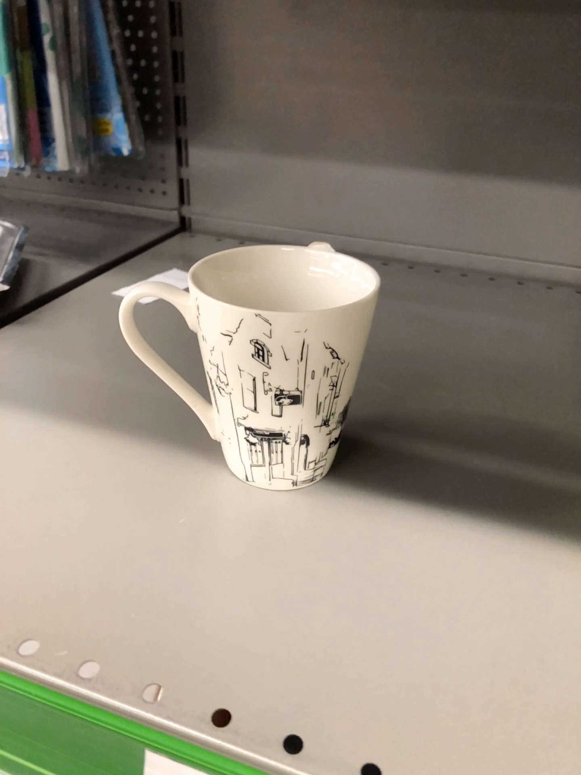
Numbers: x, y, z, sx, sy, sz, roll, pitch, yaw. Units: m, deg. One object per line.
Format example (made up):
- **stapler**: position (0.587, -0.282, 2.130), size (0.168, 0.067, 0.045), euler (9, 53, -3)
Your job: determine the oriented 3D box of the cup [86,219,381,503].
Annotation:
- **cup**: position (-0.019, -0.017, 0.310), size (0.114, 0.098, 0.092), euler (4, 29, 5)
